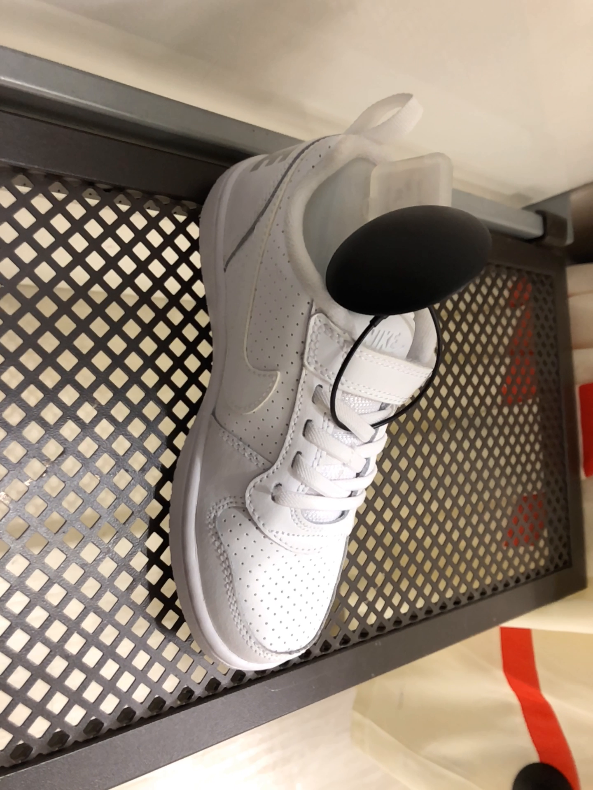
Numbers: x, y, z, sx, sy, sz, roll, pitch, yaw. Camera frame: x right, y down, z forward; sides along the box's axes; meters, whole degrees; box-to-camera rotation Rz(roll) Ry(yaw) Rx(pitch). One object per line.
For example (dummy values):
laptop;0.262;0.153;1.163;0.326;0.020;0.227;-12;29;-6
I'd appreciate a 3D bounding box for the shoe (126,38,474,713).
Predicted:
shoe;-0.001;-0.004;0.255;0.080;0.099;0.200;9;77;-39
